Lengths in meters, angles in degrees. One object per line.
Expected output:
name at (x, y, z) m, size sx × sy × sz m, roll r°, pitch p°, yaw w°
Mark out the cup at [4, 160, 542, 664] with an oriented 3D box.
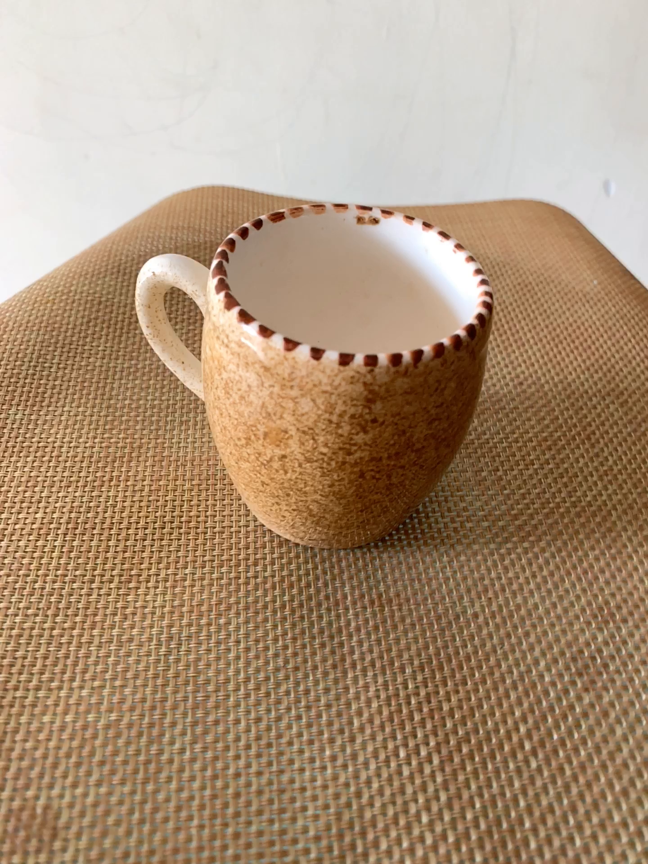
cup at (-0.009, -0.010, 0.168) m, size 0.090 × 0.069 × 0.070 m, roll 23°, pitch 47°, yaw 18°
